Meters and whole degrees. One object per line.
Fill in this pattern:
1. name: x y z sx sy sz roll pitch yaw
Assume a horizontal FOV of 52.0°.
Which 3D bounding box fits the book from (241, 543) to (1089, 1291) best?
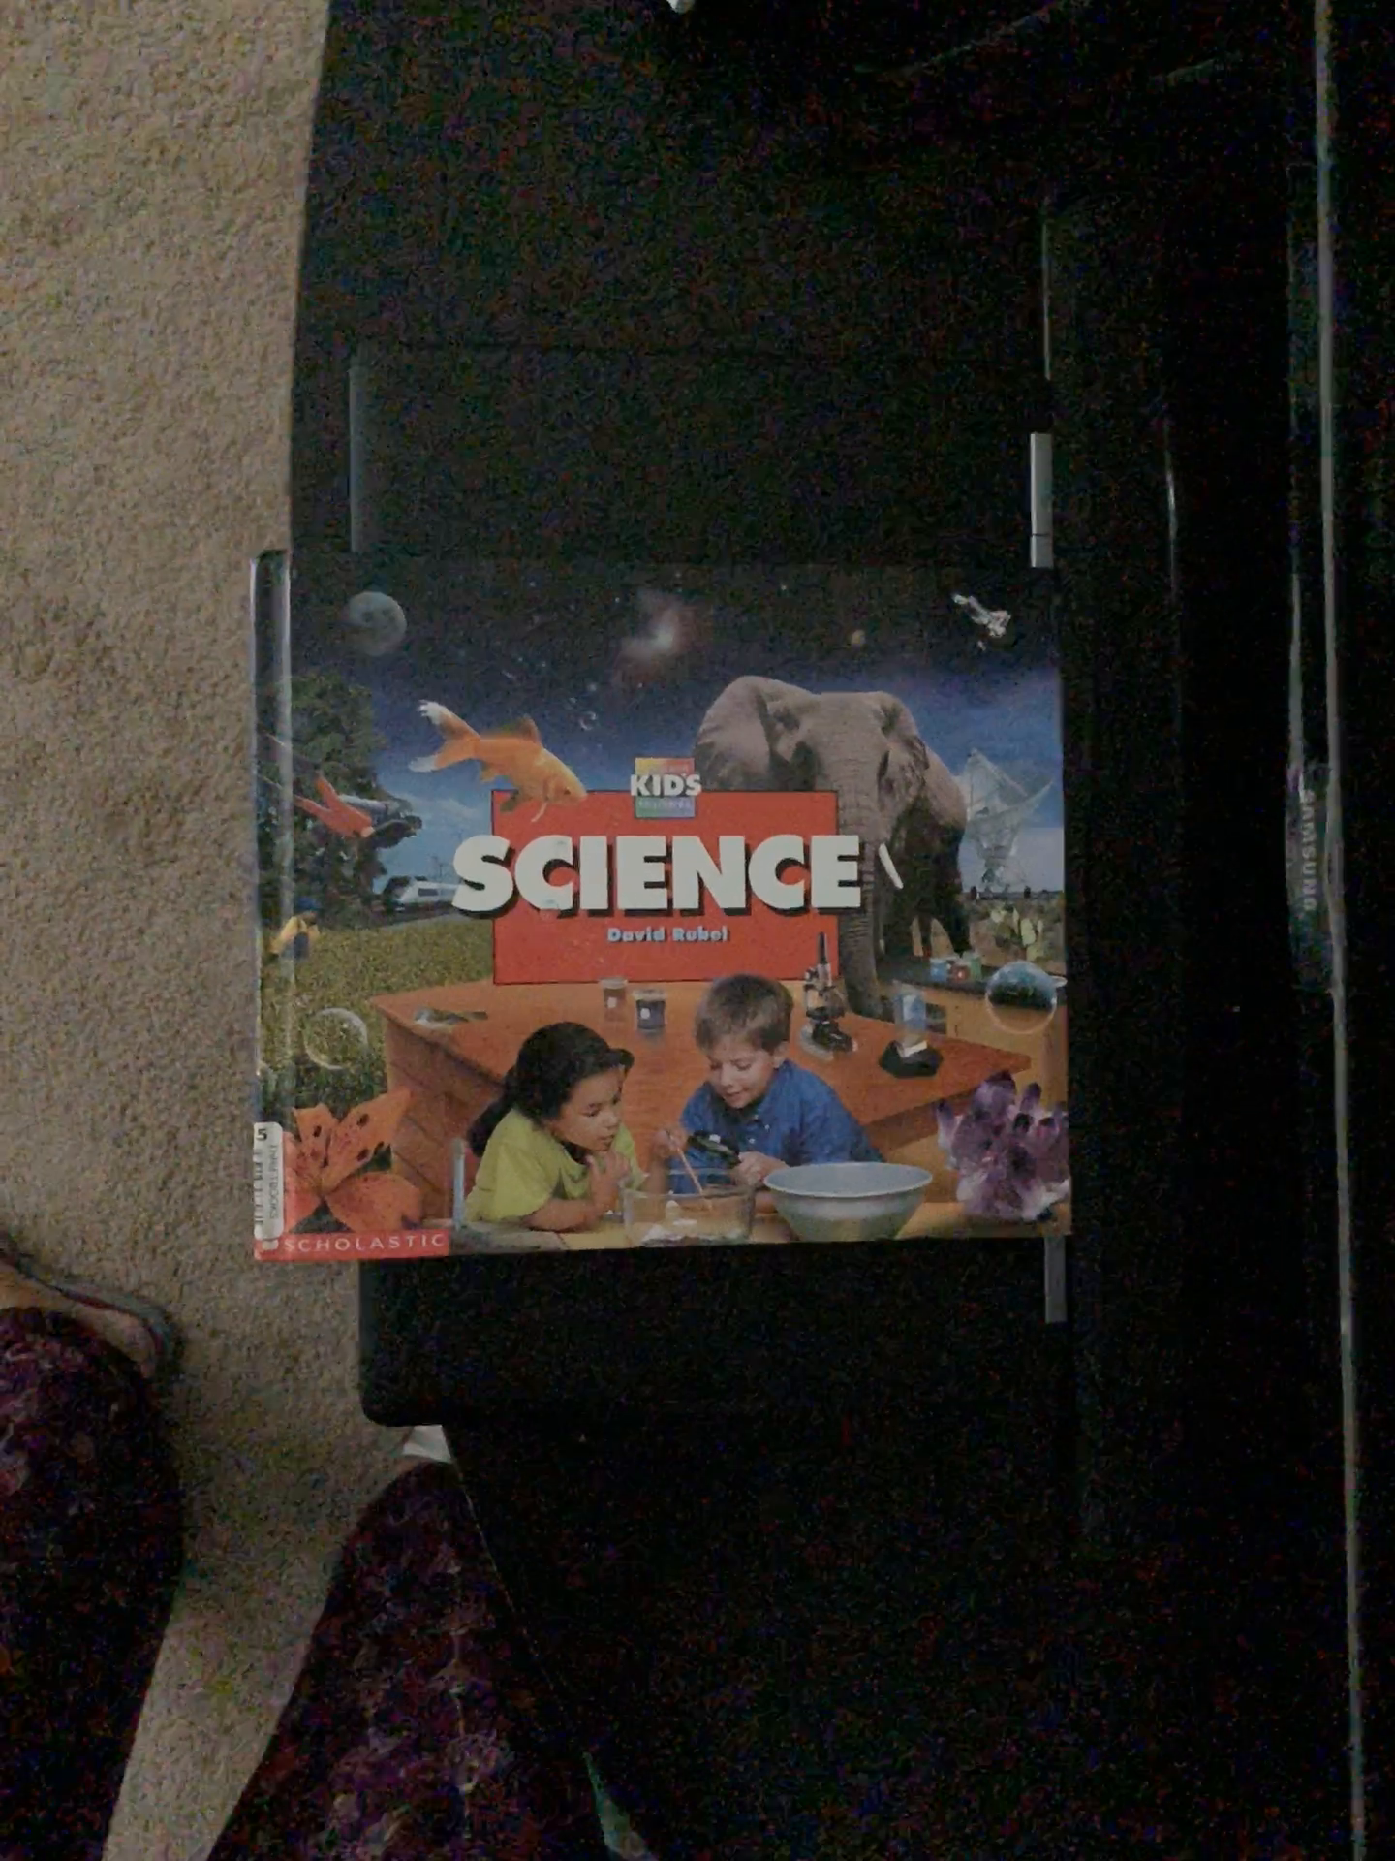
1. book: -0.009 -0.005 0.488 0.280 0.030 0.240 0 89 -6
